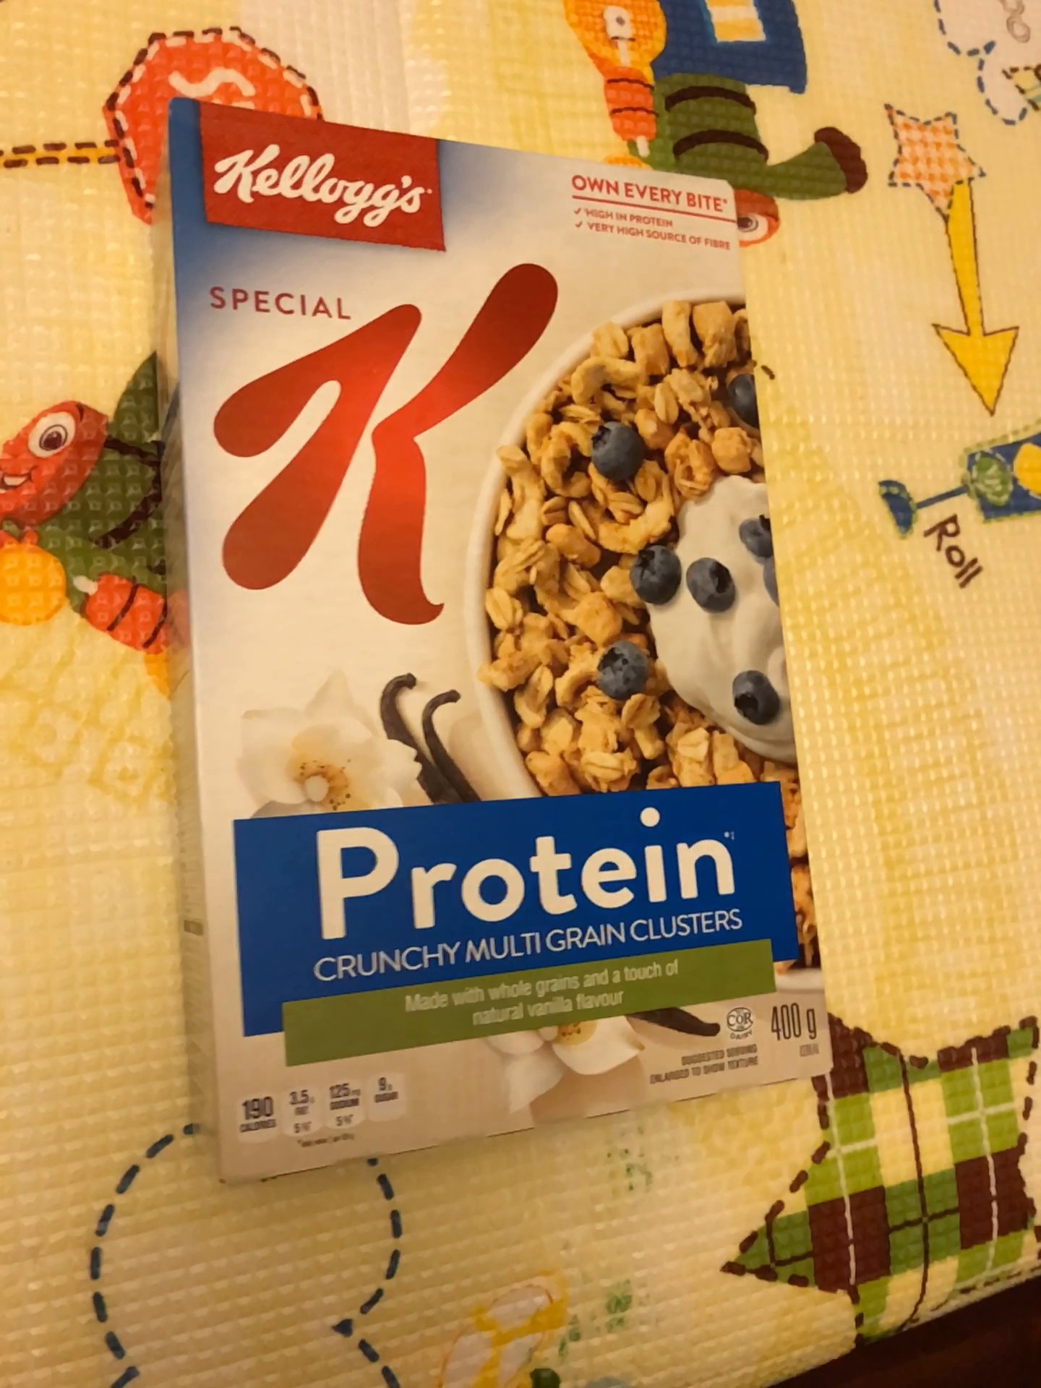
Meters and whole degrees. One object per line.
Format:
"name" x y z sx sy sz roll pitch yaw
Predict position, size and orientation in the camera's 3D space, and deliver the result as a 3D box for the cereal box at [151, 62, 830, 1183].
"cereal box" -0.010 -0.020 0.313 0.160 0.060 0.250 -1 84 -24
